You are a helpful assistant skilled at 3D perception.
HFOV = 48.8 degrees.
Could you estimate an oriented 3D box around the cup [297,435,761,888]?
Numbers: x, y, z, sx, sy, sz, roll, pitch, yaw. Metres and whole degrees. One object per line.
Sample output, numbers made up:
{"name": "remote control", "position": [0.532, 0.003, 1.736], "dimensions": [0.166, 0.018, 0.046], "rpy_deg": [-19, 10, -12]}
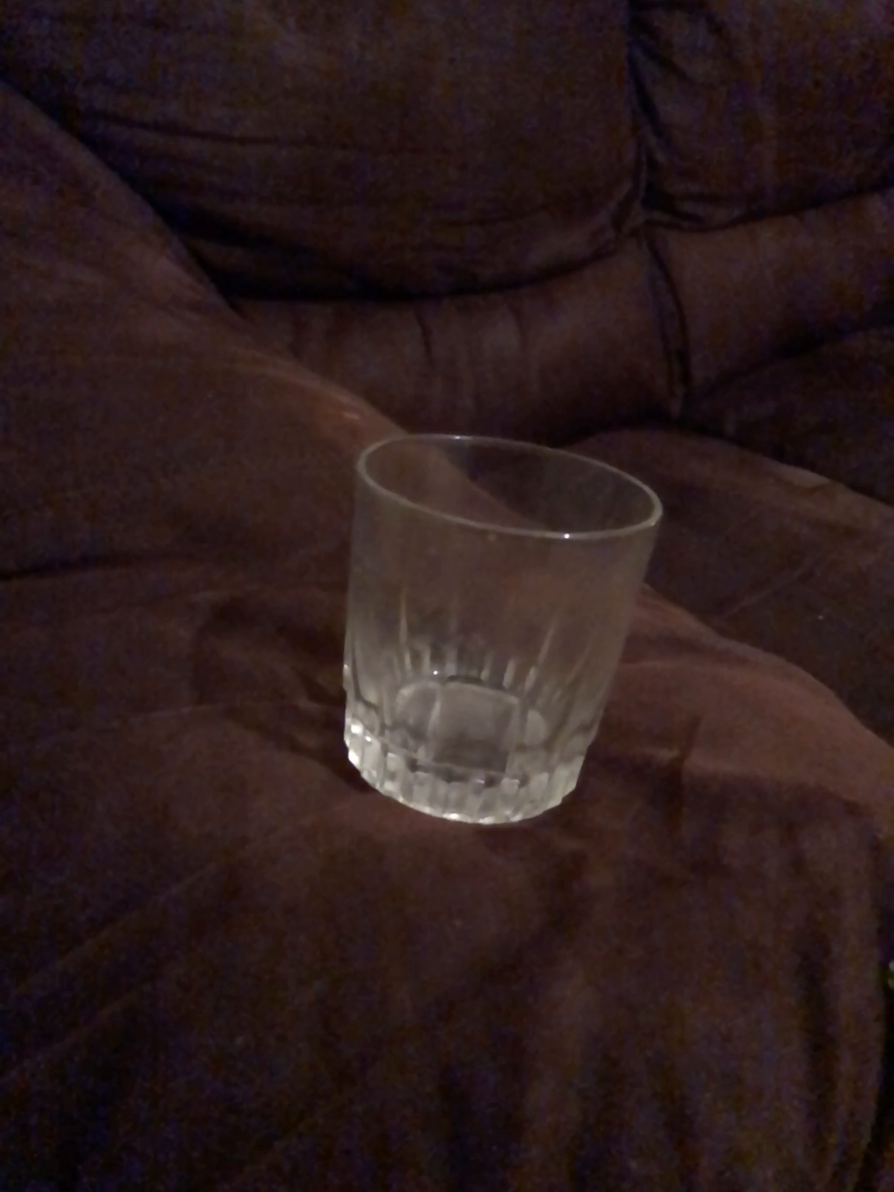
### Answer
{"name": "cup", "position": [0.014, 0.010, 0.269], "dimensions": [0.086, 0.086, 0.087], "rpy_deg": [6, 22, -2]}
